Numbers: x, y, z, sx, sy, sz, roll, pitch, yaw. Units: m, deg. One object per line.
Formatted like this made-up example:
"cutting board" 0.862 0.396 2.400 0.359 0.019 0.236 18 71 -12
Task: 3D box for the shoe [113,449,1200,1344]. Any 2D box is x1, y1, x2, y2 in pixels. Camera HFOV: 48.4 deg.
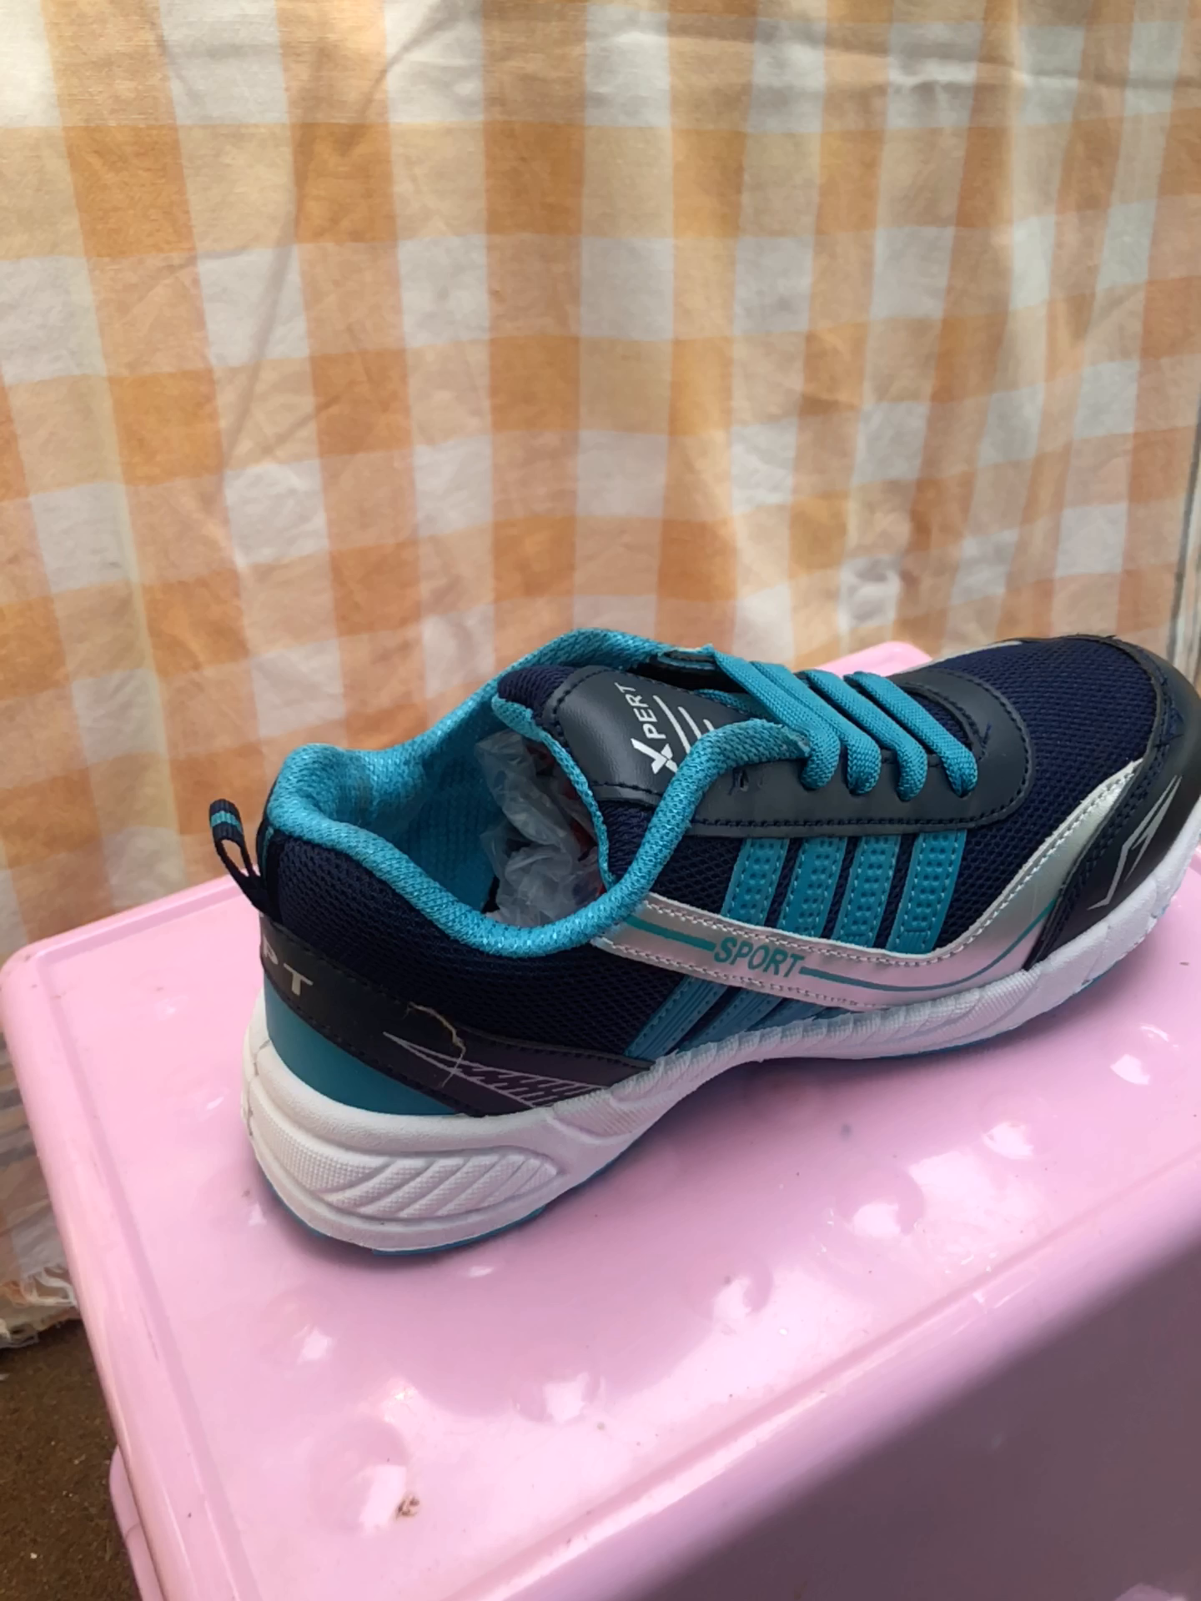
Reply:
"shoe" 0.038 0.005 0.336 0.271 0.109 0.110 -16 40 -22
